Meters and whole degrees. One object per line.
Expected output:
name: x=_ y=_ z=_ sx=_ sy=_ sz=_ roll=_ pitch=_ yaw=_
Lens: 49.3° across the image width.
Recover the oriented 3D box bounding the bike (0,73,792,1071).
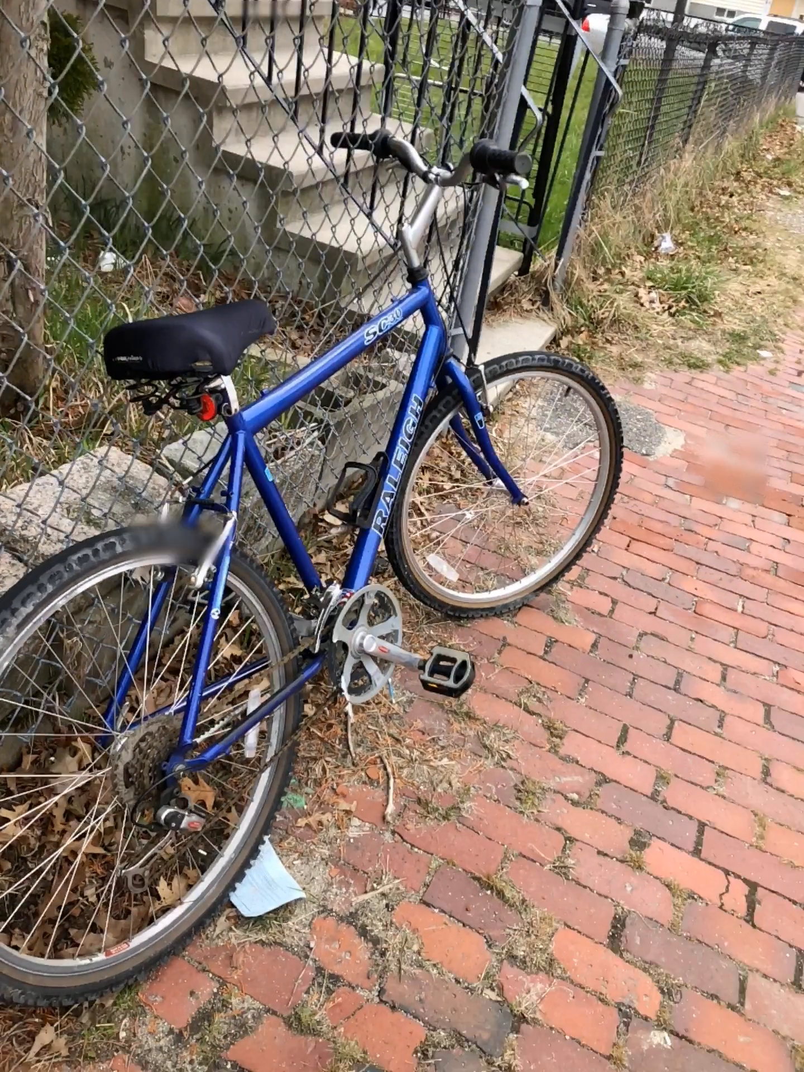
bike: x=-0.131 y=-0.144 z=1.496 sx=0.680 sy=1.023 sz=1.674 roll=27 pitch=38 yaw=28
